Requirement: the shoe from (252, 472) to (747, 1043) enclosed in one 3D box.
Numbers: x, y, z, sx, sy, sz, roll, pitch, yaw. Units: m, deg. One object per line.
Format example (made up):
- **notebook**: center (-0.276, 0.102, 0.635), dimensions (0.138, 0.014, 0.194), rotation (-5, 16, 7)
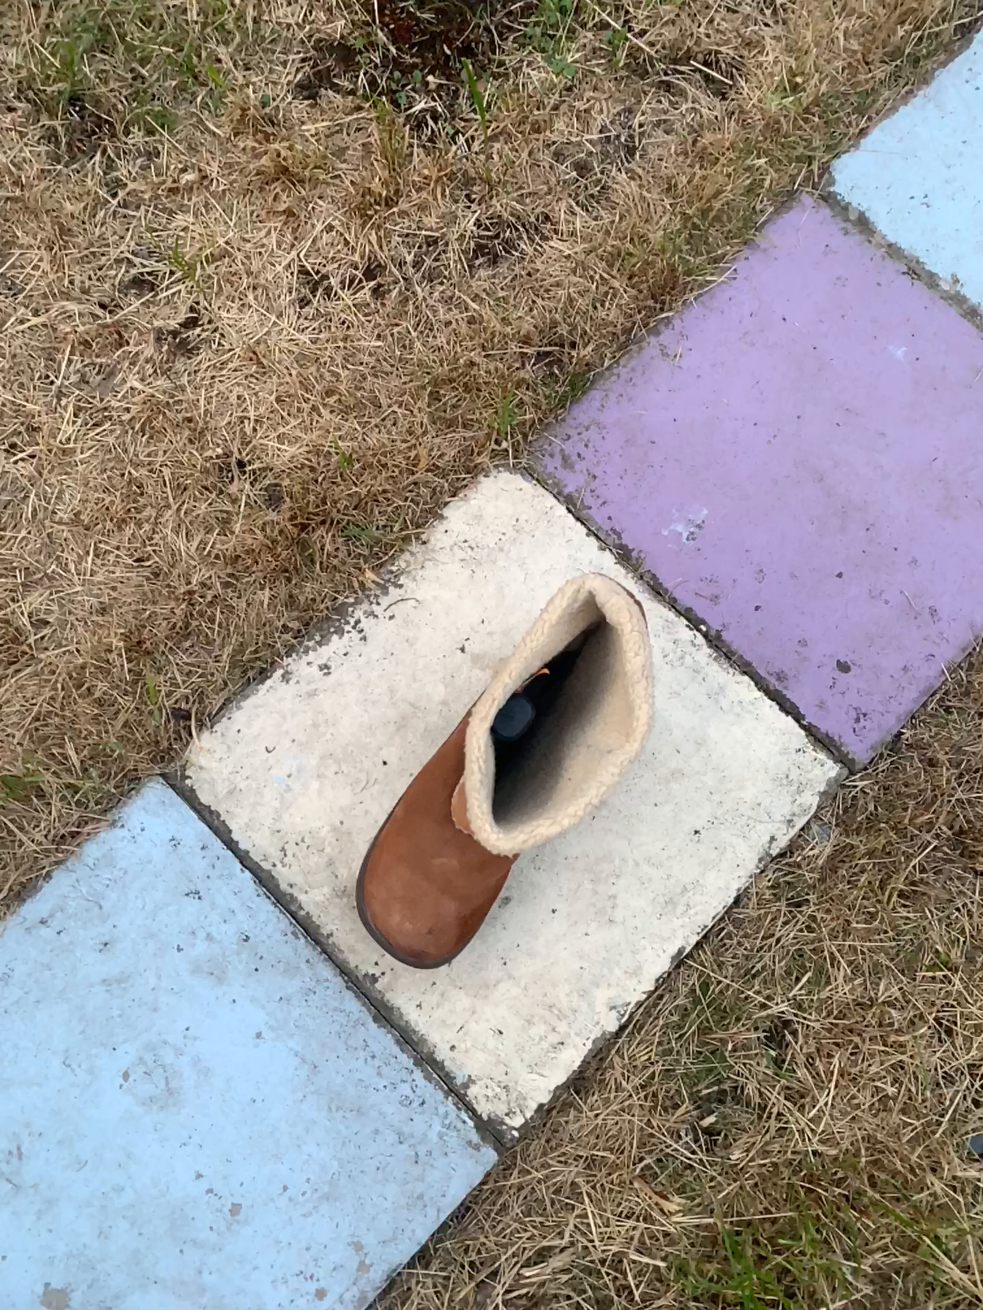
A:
- **shoe**: center (0.001, 0.074, 0.626), dimensions (0.110, 0.299, 0.260), rotation (35, 77, 5)
